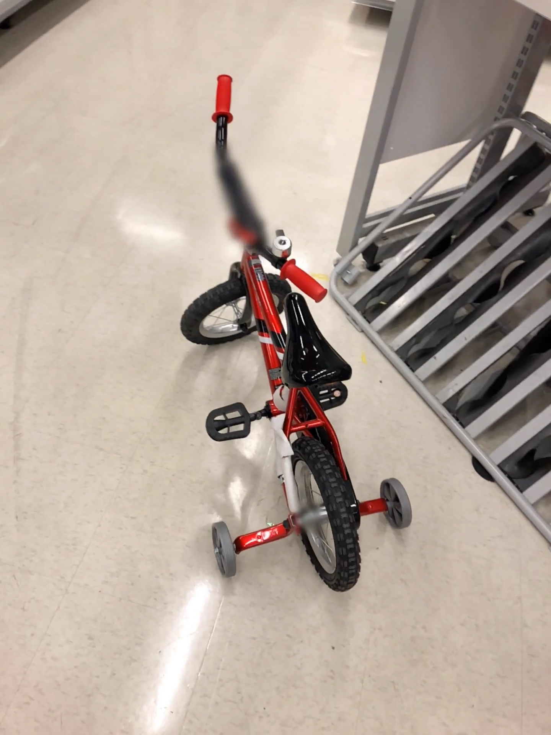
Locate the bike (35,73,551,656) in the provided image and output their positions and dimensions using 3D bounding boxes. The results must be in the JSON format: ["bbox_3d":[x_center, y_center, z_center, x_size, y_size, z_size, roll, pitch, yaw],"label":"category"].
[{"bbox_3d":[-0.002,-0.014,1.121,0.532,0.678,0.701,-19,56,-23],"label":"bike"}]
